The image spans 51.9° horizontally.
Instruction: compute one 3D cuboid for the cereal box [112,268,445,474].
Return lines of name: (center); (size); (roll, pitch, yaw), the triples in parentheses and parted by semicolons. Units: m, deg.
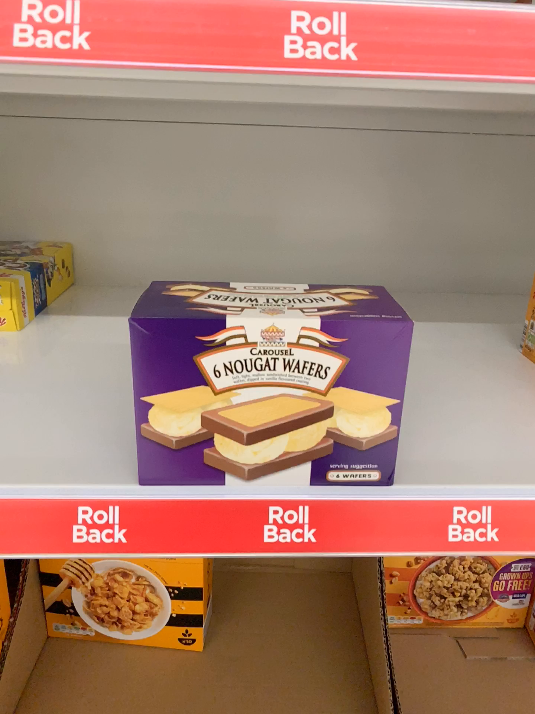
cereal box: (0.004, 0.006, 0.375); (0.190, 0.109, 0.091); (1, 22, -3)
